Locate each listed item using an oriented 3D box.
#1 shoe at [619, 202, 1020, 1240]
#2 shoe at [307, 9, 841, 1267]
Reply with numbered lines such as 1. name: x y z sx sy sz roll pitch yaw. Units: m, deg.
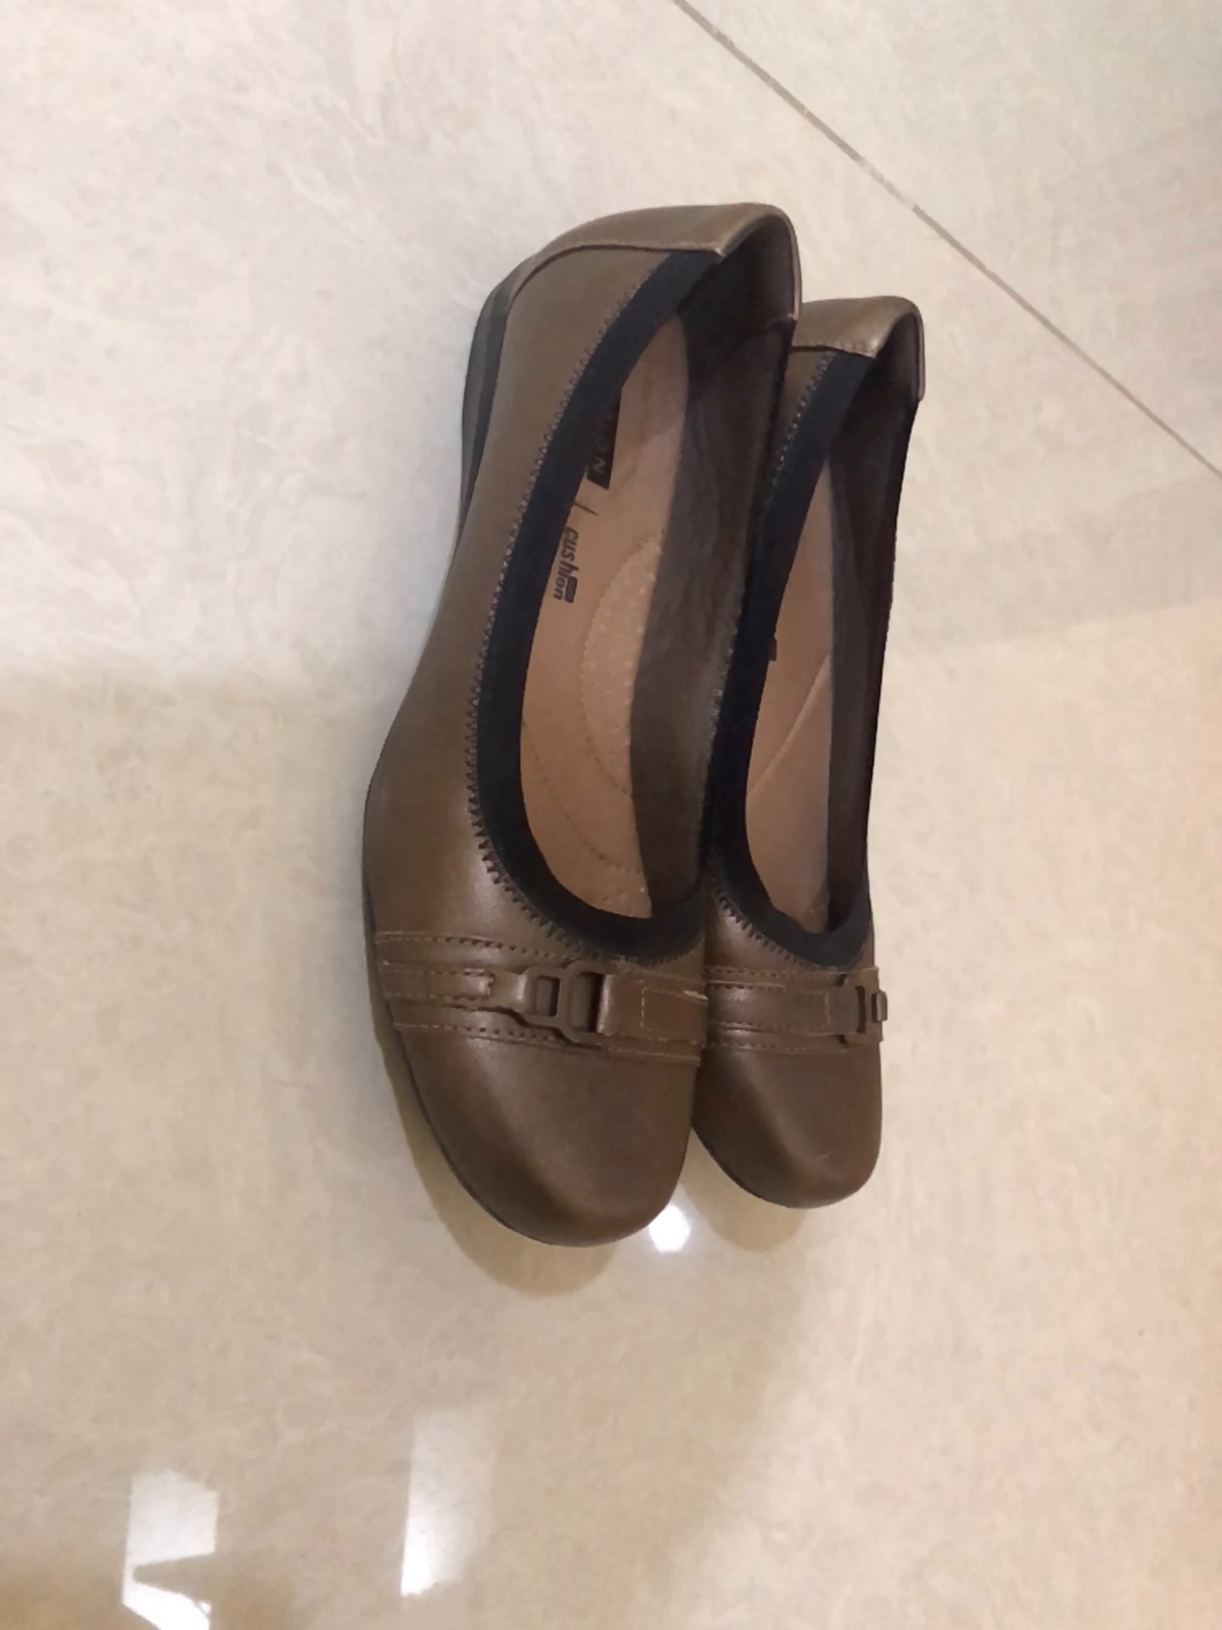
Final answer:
1. shoe: 0.059 -0.022 0.392 0.091 0.070 0.260 7 80 -46
2. shoe: 0.000 -0.036 0.329 0.101 0.050 0.270 16 74 -44
